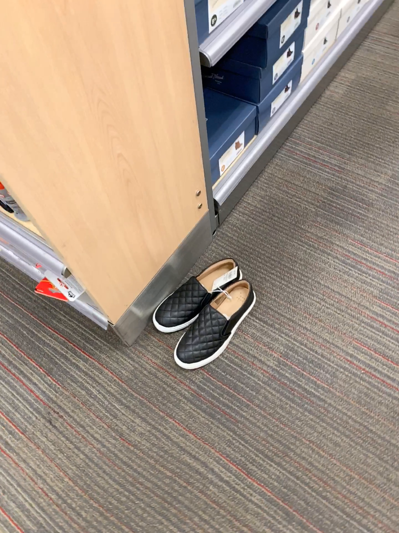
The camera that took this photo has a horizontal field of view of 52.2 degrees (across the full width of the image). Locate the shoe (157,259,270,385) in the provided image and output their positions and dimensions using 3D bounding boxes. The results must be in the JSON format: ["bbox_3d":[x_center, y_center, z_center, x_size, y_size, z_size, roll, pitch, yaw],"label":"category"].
[{"bbox_3d":[0.037,0.123,0.923,0.100,0.100,0.260,36,70,23],"label":"shoe"}]

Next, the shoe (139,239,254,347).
[{"bbox_3d":[-0.001,0.064,0.986,0.260,0.100,0.100,-34,63,-13],"label":"shoe"}]
